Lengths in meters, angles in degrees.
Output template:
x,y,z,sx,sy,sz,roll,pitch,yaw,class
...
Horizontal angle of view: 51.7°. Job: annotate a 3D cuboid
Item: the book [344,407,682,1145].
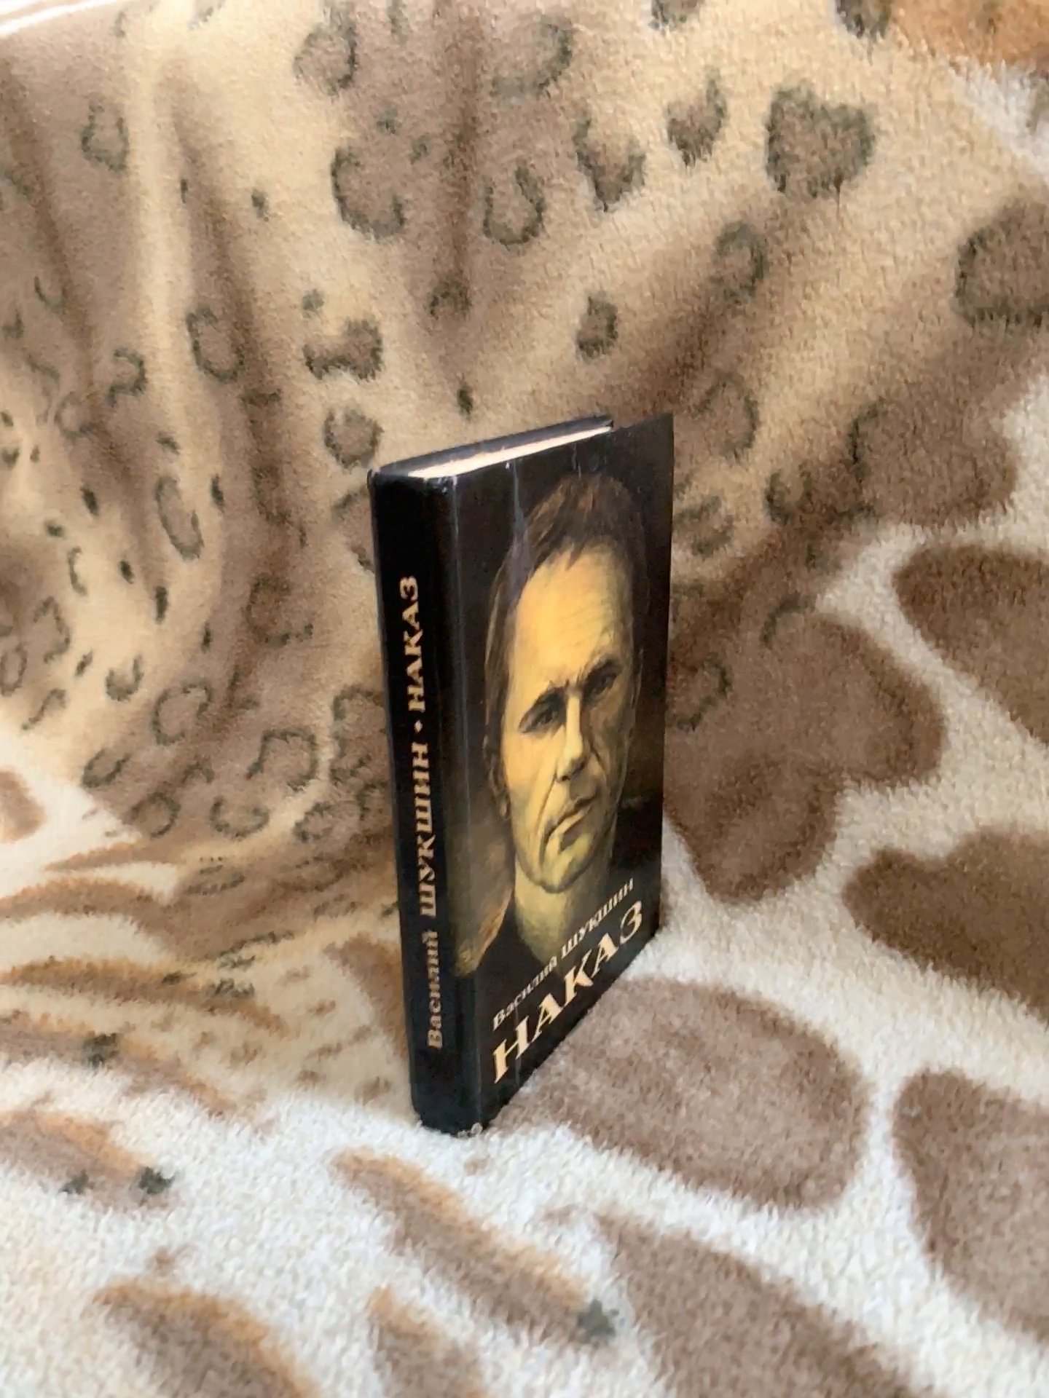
x,y,z,sx,sy,sz,roll,pitch,yaw,class
0.005,0.018,0.348,0.030,0.199,0.131,13,26,31,book
